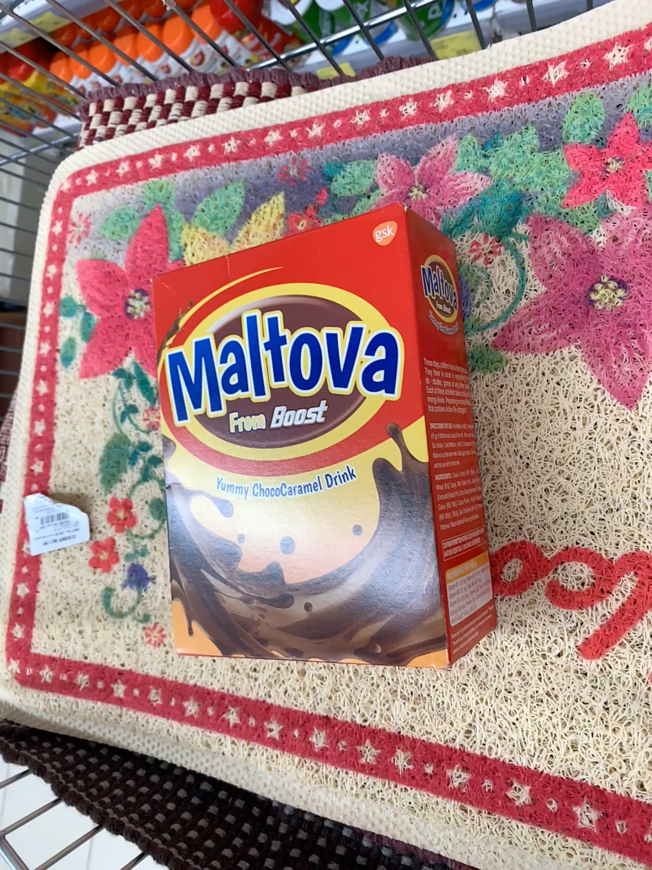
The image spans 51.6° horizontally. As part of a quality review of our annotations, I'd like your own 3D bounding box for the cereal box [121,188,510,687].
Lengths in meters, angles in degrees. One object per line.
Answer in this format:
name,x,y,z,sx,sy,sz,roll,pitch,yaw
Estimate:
cereal box,-0.011,0.008,0.289,0.151,0.050,0.170,-7,85,31
